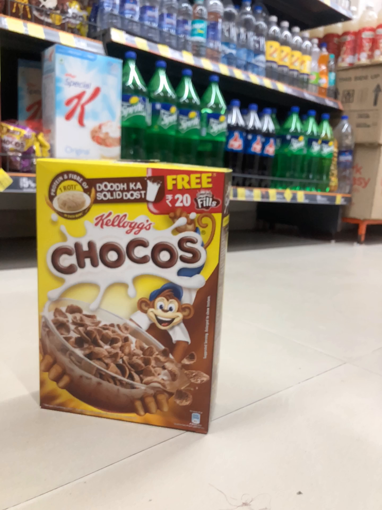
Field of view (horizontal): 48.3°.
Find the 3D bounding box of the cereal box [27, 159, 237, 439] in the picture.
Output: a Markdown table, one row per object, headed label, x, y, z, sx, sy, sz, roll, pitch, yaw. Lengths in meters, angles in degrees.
| label | x | y | z | sx | sy | sz | roll | pitch | yaw |
| --- | --- | --- | --- | --- | --- | --- | --- | --- | --- |
| cereal box | -0.060 | 0.039 | 0.442 | 0.190 | 0.259 | 0.070 | 5 | 12 | 9 |
